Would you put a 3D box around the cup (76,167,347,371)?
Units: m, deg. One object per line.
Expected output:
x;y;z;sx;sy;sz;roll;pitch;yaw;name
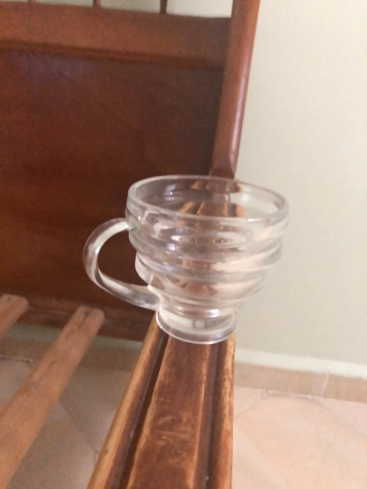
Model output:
0.005;0.004;0.201;0.106;0.065;0.076;-2;23;-18;cup
